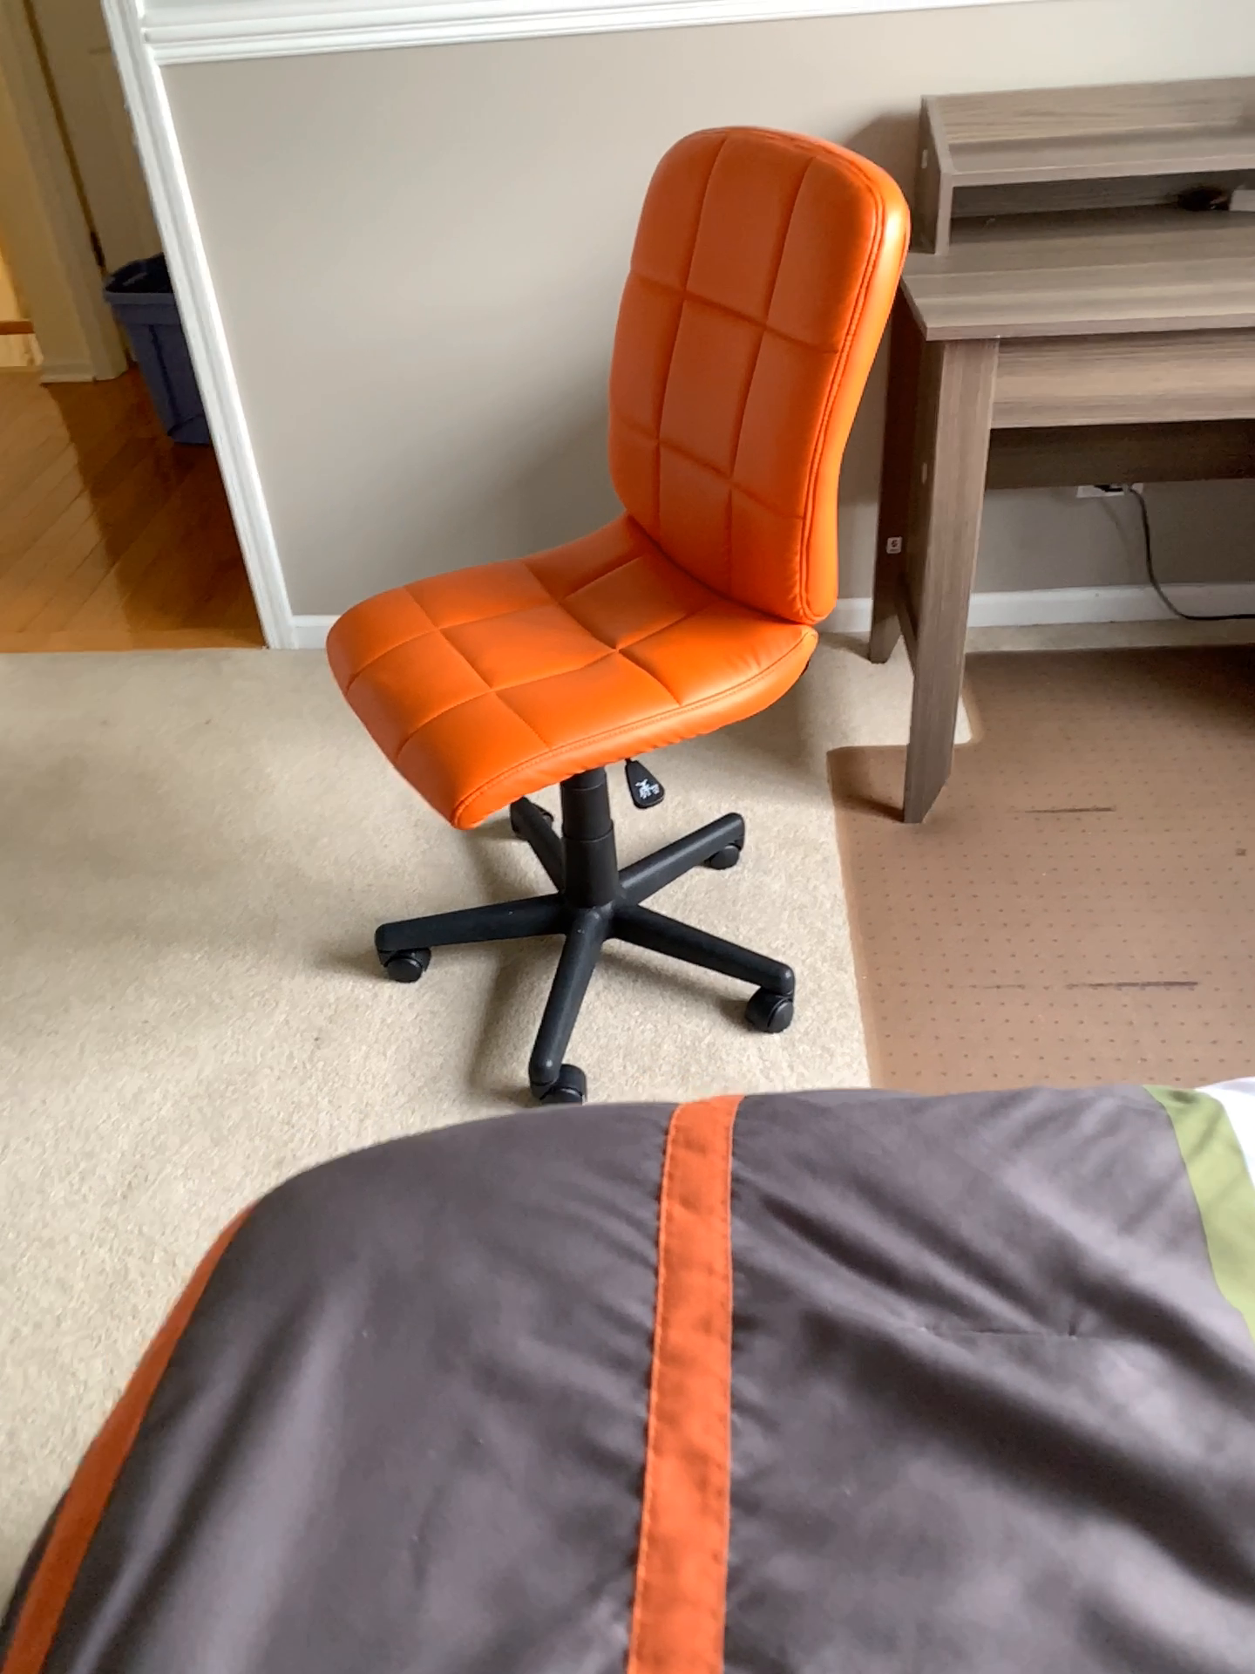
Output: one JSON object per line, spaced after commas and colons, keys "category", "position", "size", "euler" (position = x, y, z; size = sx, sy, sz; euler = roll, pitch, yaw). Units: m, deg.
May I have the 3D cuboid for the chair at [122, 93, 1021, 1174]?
{"category": "chair", "position": [-0.066, -0.254, 1.442], "size": [0.617, 0.901, 0.618], "euler": [-21, 40, -21]}
